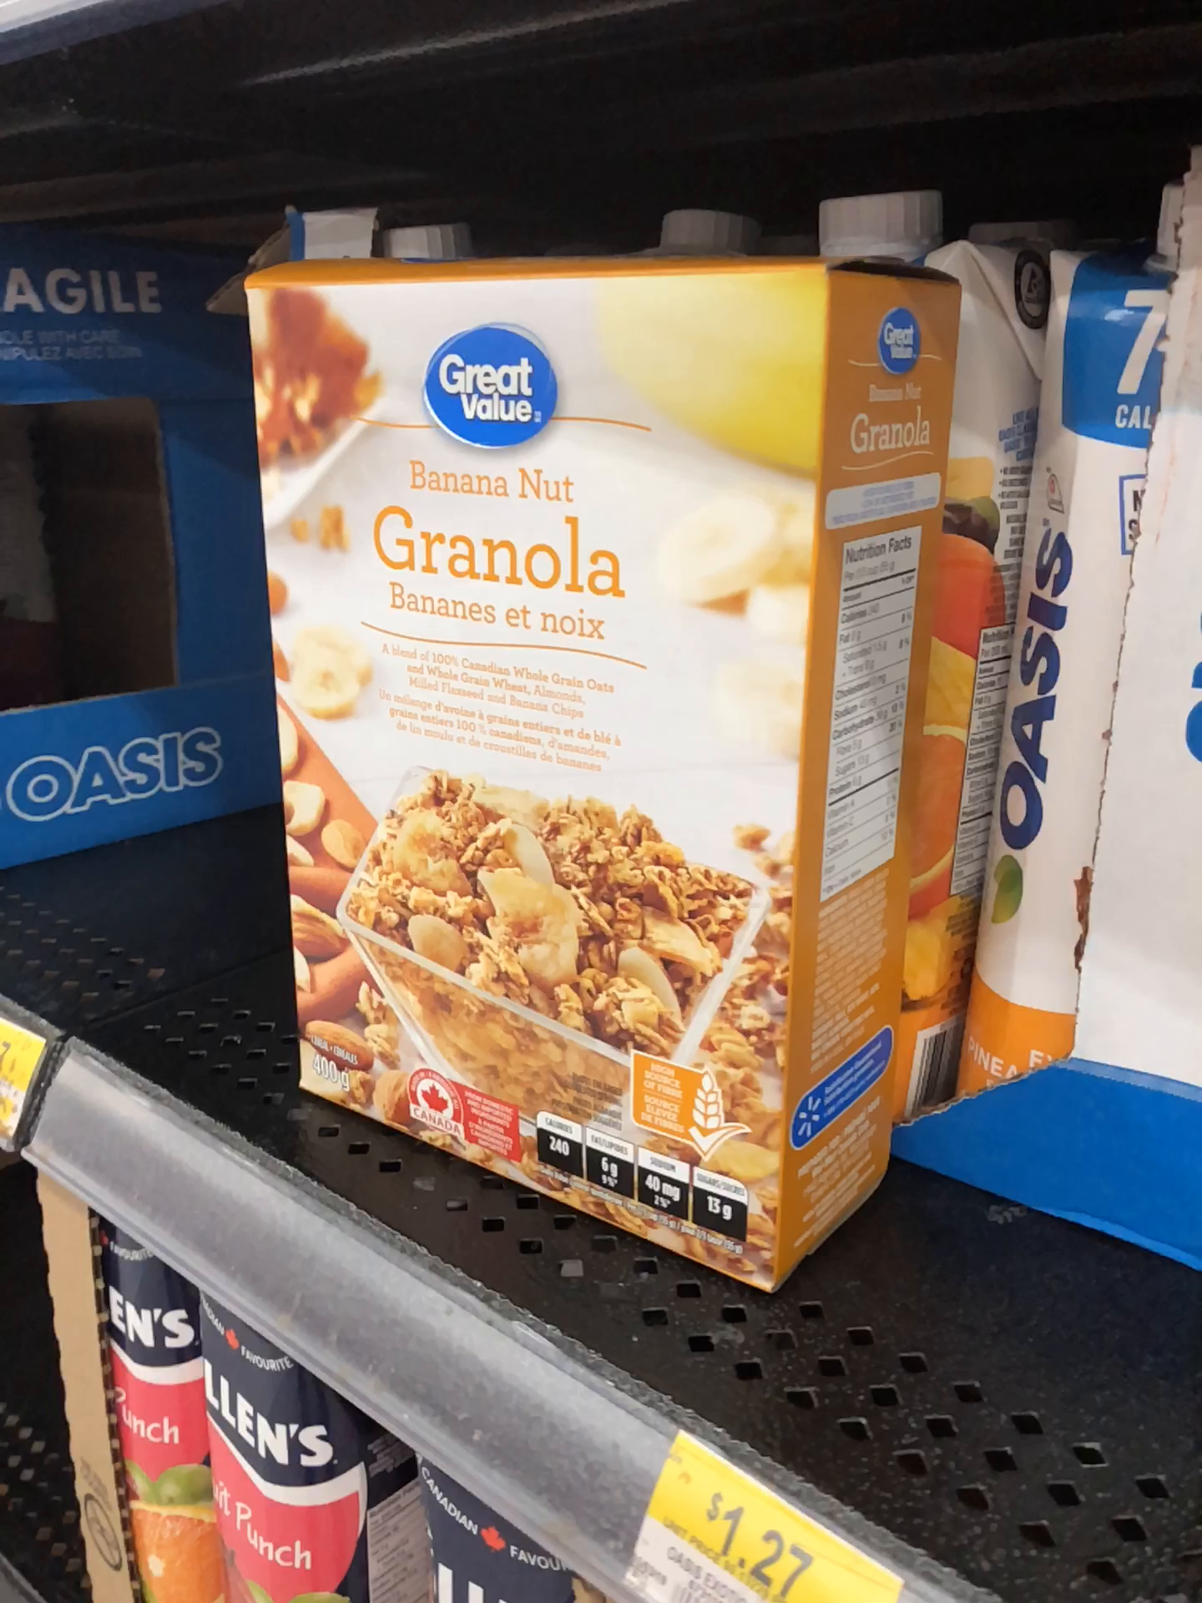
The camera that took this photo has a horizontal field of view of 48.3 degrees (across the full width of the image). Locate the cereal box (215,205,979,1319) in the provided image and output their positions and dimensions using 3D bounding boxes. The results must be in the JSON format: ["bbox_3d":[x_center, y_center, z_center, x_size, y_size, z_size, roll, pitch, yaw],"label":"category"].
[{"bbox_3d":[-0.009,-0.016,0.322,0.160,0.219,0.060,13,20,33],"label":"cereal box"}]
